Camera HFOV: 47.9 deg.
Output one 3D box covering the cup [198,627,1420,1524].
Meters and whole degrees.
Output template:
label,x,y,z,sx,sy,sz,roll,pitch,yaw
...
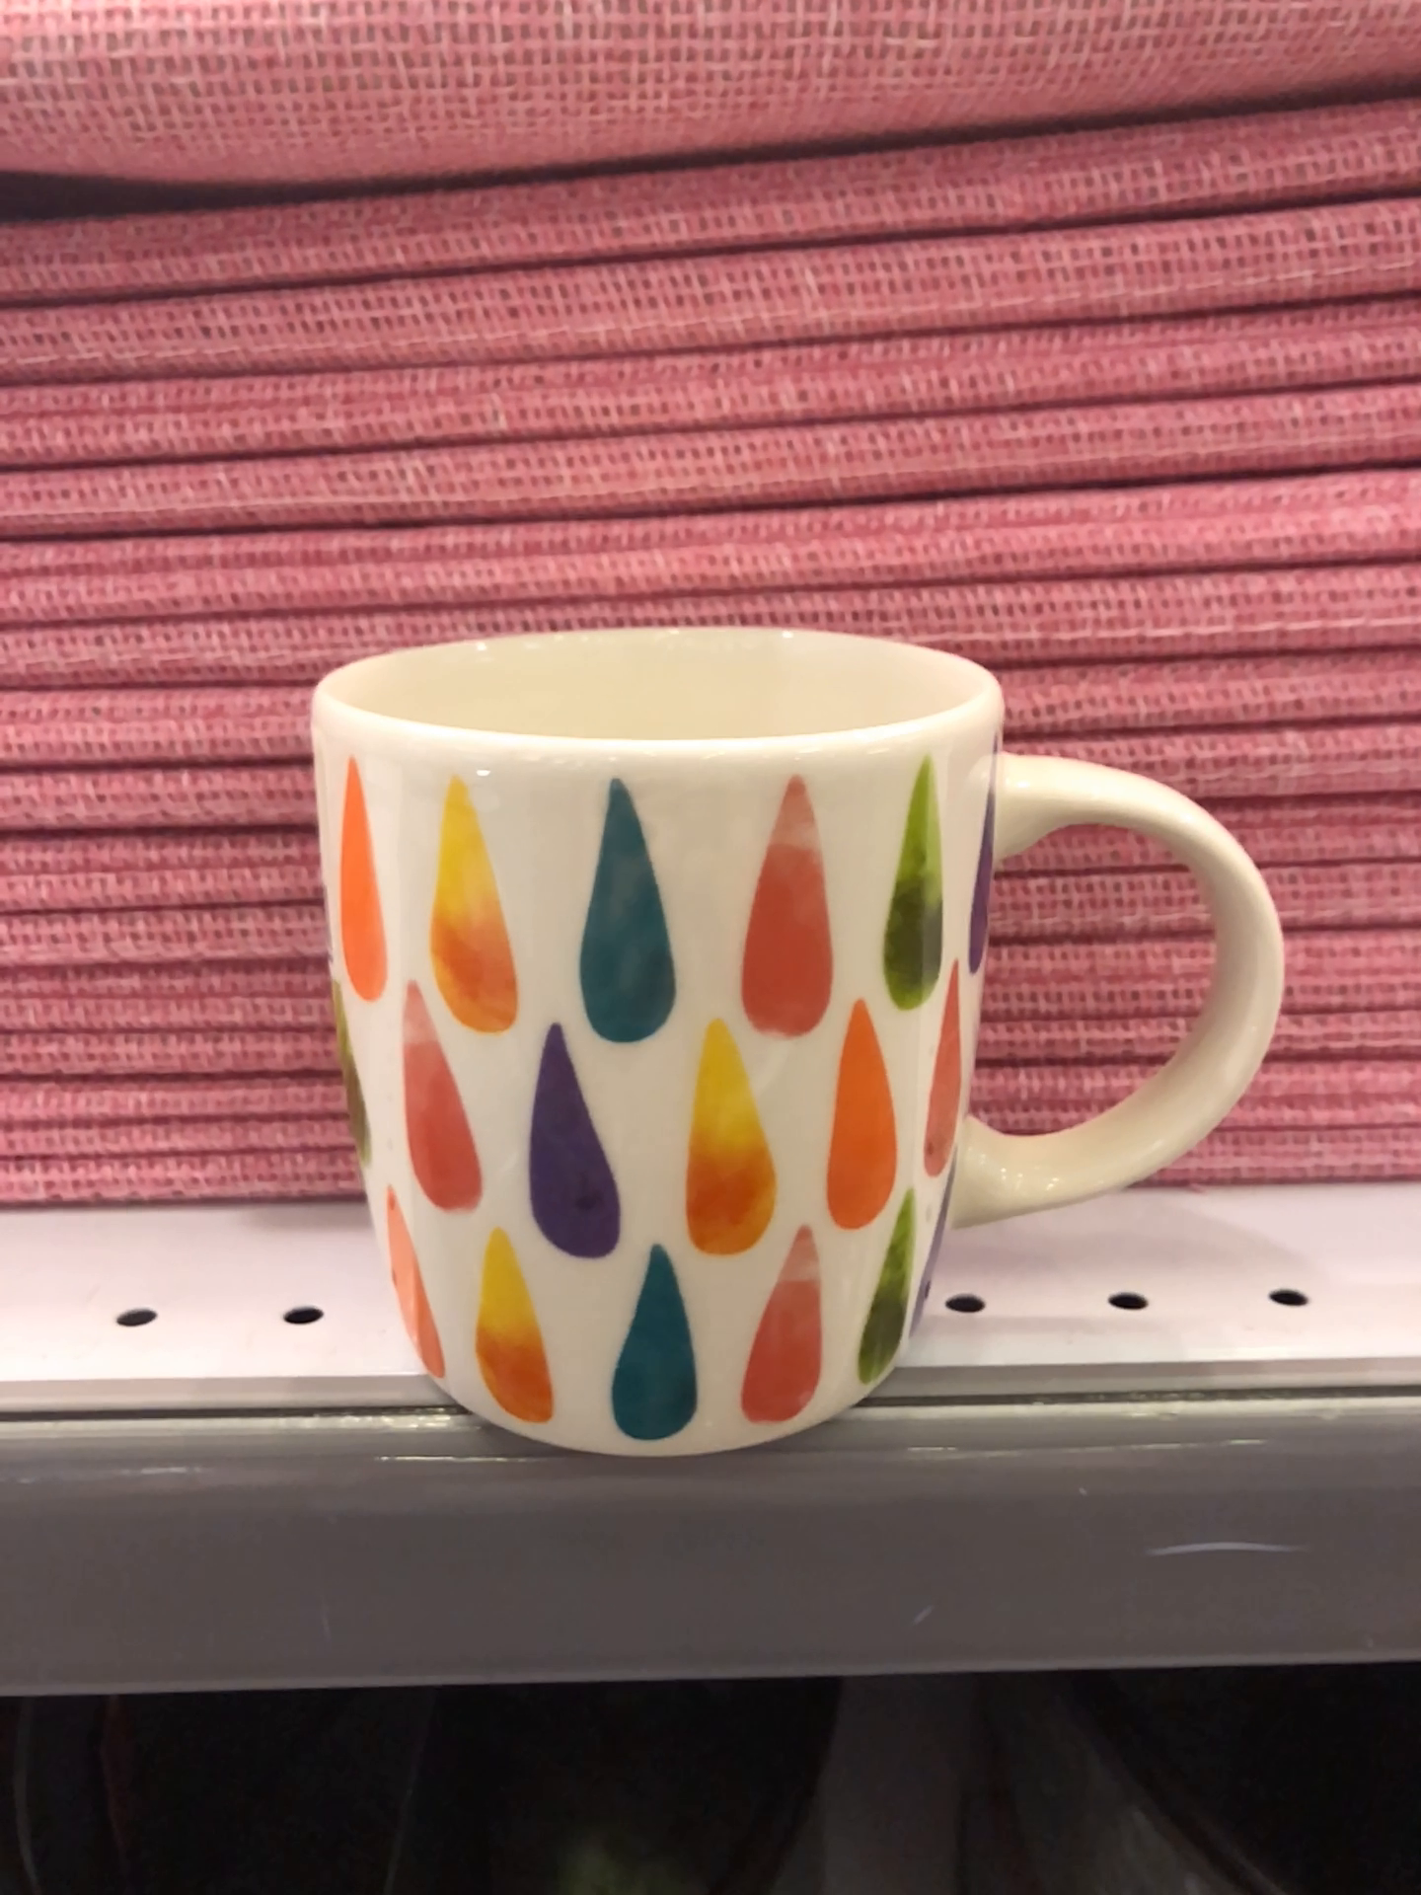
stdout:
label,x,y,z,sx,sy,sz,roll,pitch,yaw
cup,0.013,0.008,0.215,0.130,0.090,0.091,-1,18,-3
